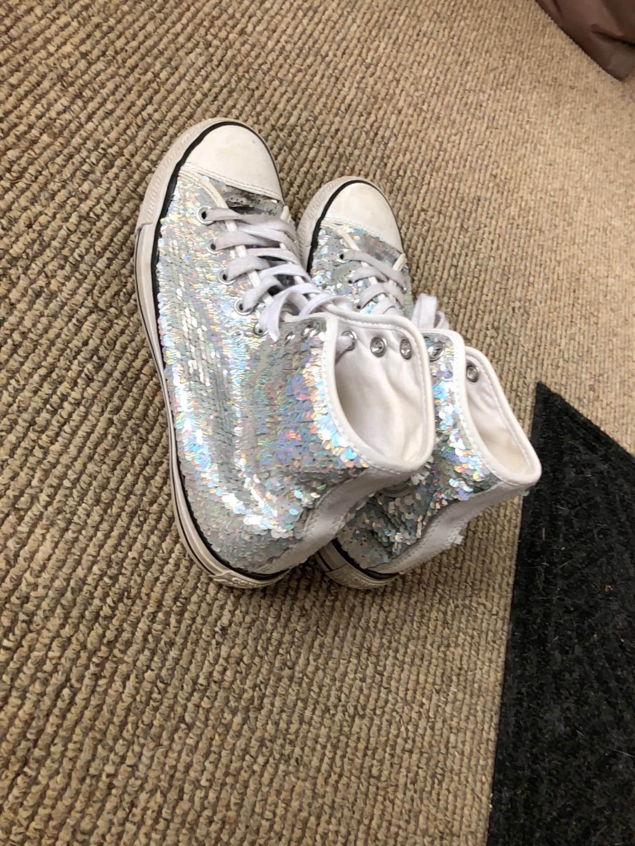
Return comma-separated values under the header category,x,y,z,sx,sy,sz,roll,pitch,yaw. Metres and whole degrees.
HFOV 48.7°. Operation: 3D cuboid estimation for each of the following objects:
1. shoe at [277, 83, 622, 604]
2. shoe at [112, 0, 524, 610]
category,x,y,z,sx,sy,sz,roll,pitch,yaw
shoe,0.063,-0.038,0.421,0.112,0.127,0.264,13,61,-35
shoe,-0.015,-0.053,0.372,0.112,0.137,0.264,4,67,-39
